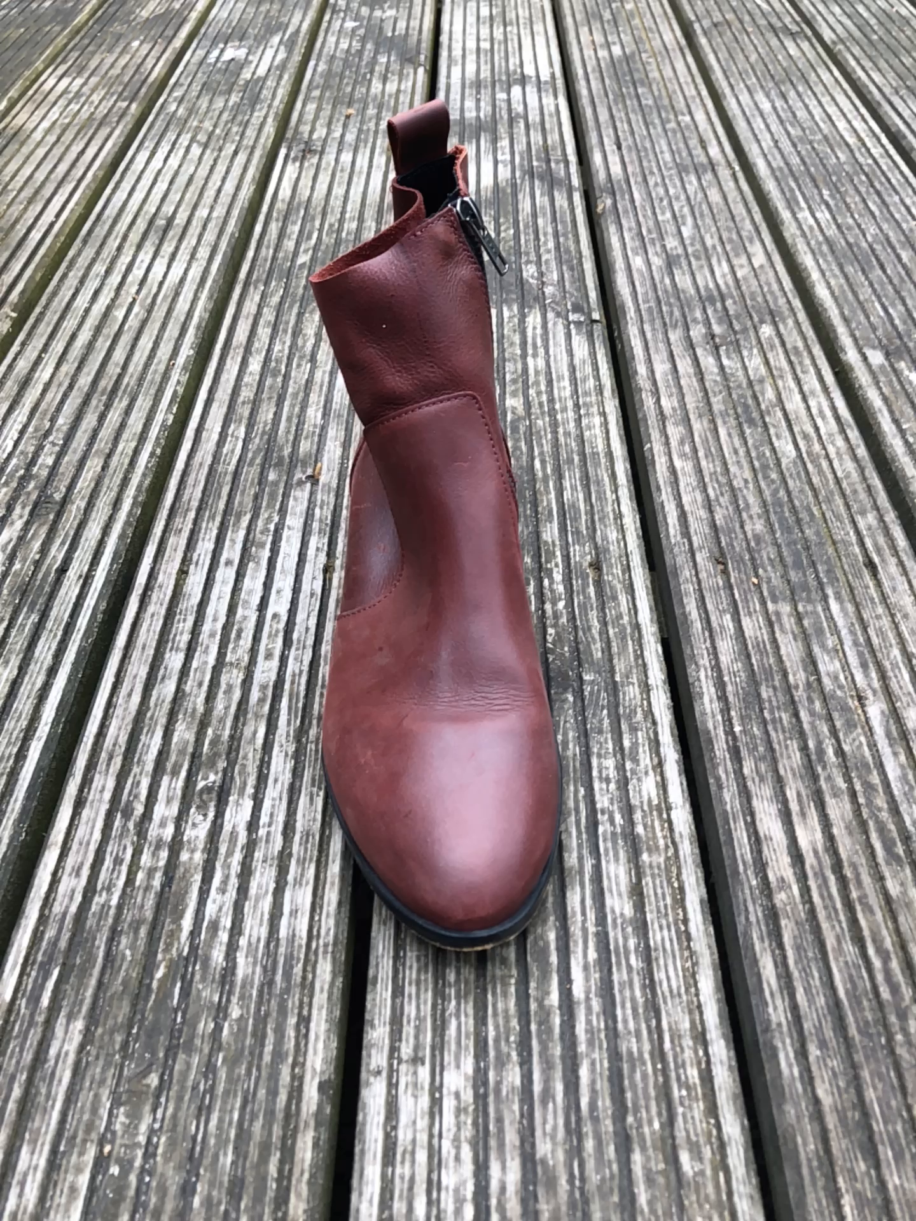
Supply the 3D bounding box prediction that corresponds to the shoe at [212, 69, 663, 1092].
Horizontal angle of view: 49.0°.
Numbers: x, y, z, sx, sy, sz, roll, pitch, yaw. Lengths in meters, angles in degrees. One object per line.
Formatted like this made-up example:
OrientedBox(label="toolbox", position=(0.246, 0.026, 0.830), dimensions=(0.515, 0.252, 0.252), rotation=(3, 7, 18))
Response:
OrientedBox(label="shoe", position=(0.004, -0.028, 0.405), dimensions=(0.090, 0.239, 0.342), rotation=(-1, 46, 3))
